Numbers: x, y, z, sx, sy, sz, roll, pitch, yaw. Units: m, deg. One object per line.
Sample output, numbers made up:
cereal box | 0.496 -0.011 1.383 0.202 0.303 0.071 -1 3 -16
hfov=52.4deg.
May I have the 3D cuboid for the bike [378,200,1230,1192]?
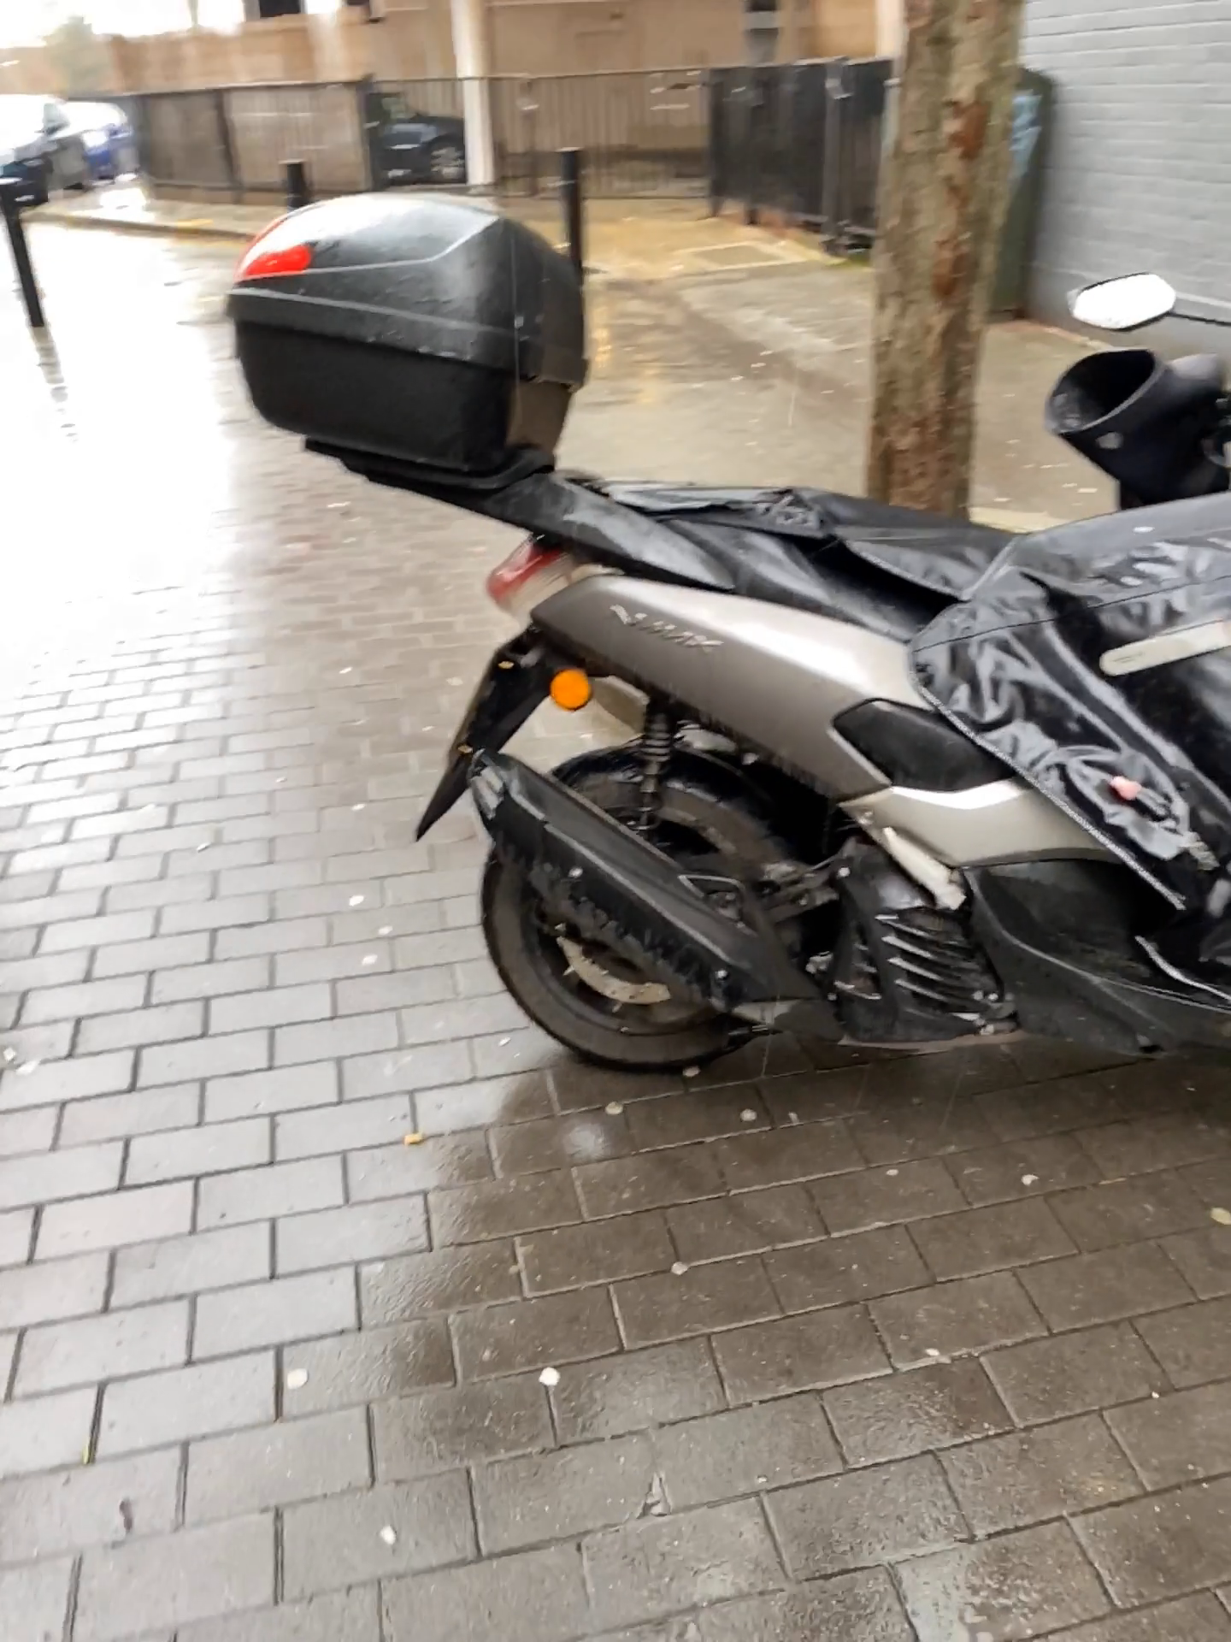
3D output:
bike | 0.698 -0.198 1.723 1.730 1.121 0.763 0 30 2
